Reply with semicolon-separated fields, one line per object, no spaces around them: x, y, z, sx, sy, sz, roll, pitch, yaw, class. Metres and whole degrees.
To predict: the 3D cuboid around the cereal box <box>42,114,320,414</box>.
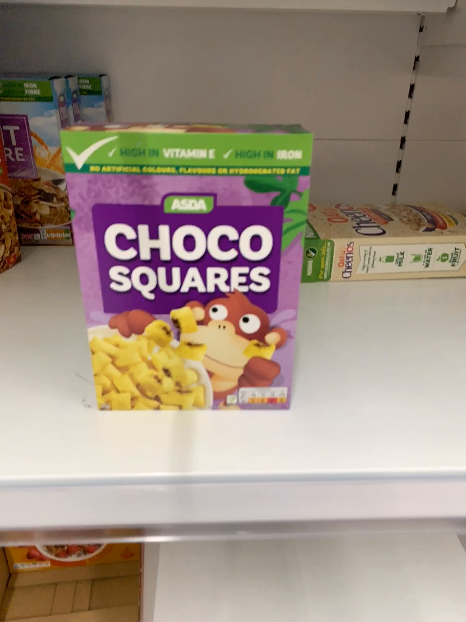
-0.037;-0.031;0.406;0.190;0.248;0.061;1;27;-1;cereal box
